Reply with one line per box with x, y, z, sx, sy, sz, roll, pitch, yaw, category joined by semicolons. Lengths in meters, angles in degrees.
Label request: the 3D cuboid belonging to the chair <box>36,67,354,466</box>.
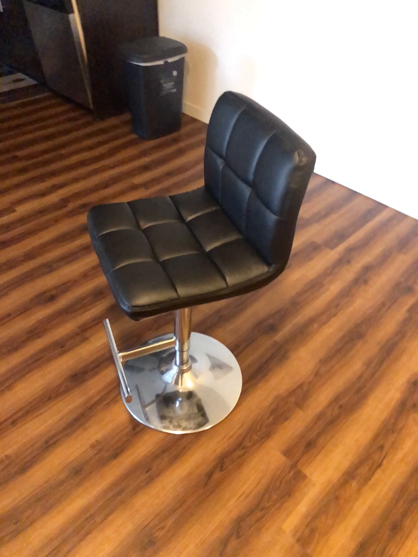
-0.084;-0.017;1.347;0.569;0.952;0.536;-13;44;-17;chair
